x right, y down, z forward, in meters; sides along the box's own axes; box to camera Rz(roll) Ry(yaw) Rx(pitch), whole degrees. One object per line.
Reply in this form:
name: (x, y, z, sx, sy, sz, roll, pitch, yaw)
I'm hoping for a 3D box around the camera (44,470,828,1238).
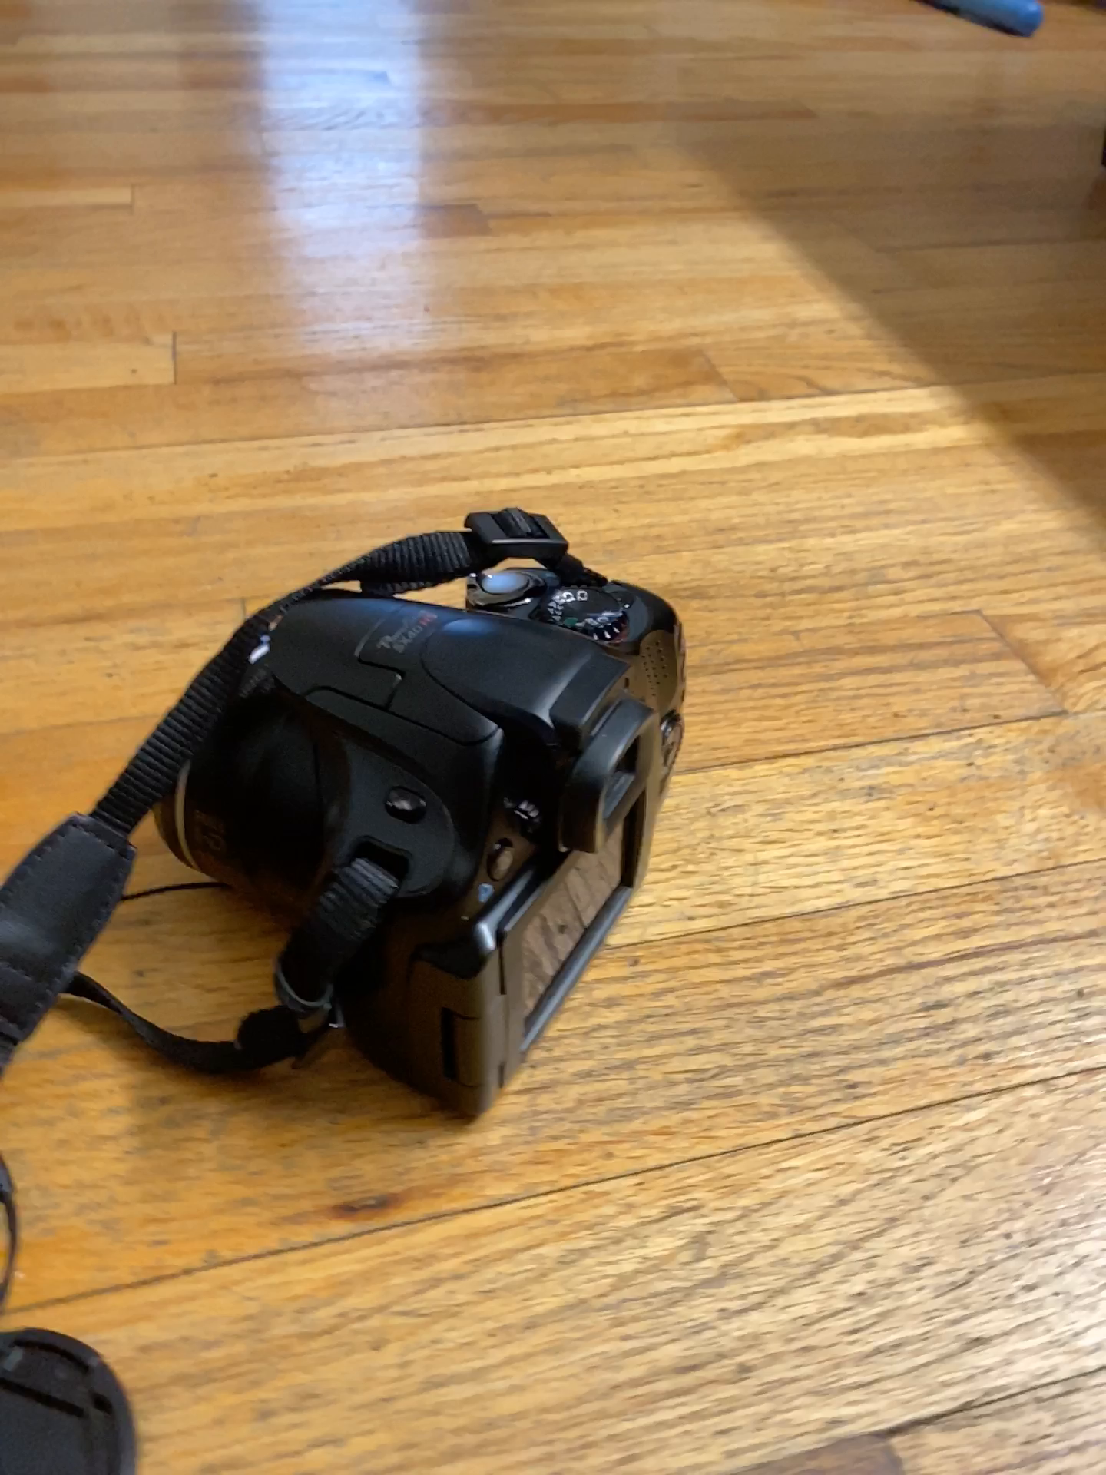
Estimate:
camera: (-0.021, 0.017, 0.274, 0.120, 0.089, 0.121, 23, 45, 21)
